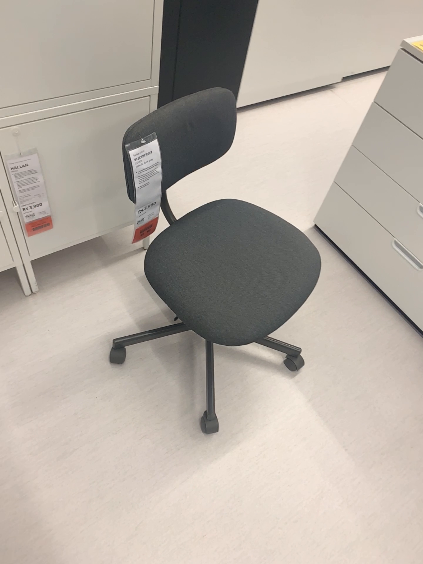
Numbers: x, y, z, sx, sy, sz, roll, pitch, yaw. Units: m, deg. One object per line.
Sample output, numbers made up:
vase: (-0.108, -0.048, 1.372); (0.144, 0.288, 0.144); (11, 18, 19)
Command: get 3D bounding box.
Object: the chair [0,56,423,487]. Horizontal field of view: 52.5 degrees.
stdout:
chair: (0.021, -0.039, 1.211); (0.710, 0.678, 0.722); (34, 55, 14)
